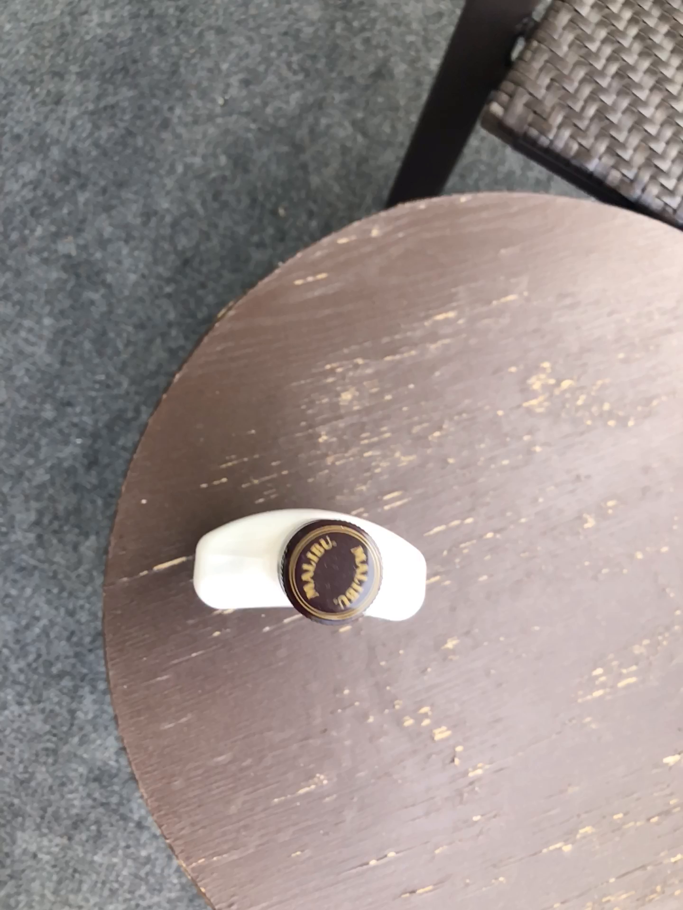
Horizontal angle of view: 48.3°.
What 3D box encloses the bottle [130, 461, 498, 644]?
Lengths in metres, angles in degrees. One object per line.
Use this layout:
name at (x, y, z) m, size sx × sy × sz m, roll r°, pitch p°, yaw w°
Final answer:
bottle at (-0.014, 0.040, 0.318) m, size 0.100 × 0.211 × 0.045 m, roll 4°, pitch 83°, yaw -4°
